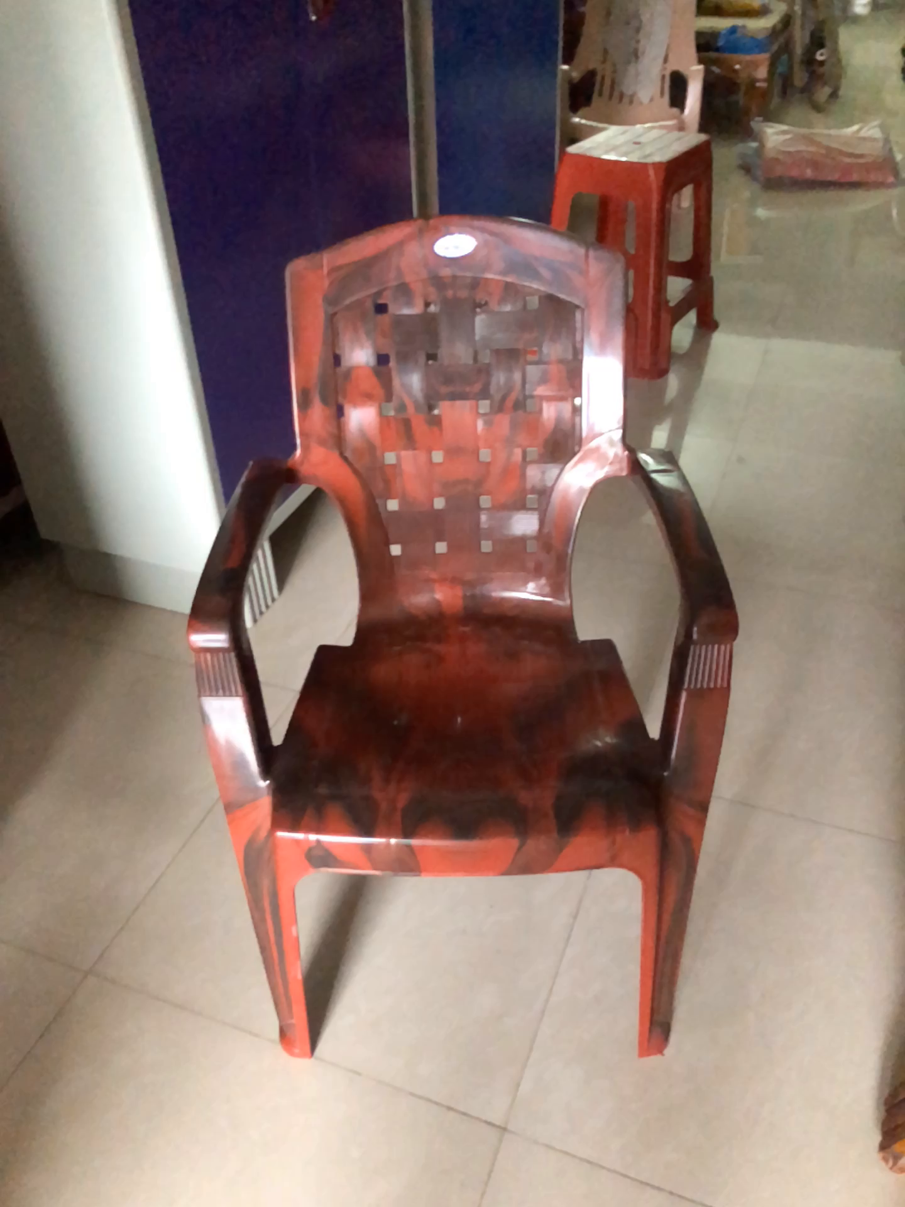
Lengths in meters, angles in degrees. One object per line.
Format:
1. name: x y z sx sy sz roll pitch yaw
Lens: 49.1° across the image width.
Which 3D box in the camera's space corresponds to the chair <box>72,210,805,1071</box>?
1. chair: 0.014 0.061 1.199 0.530 0.865 0.563 0 37 3
